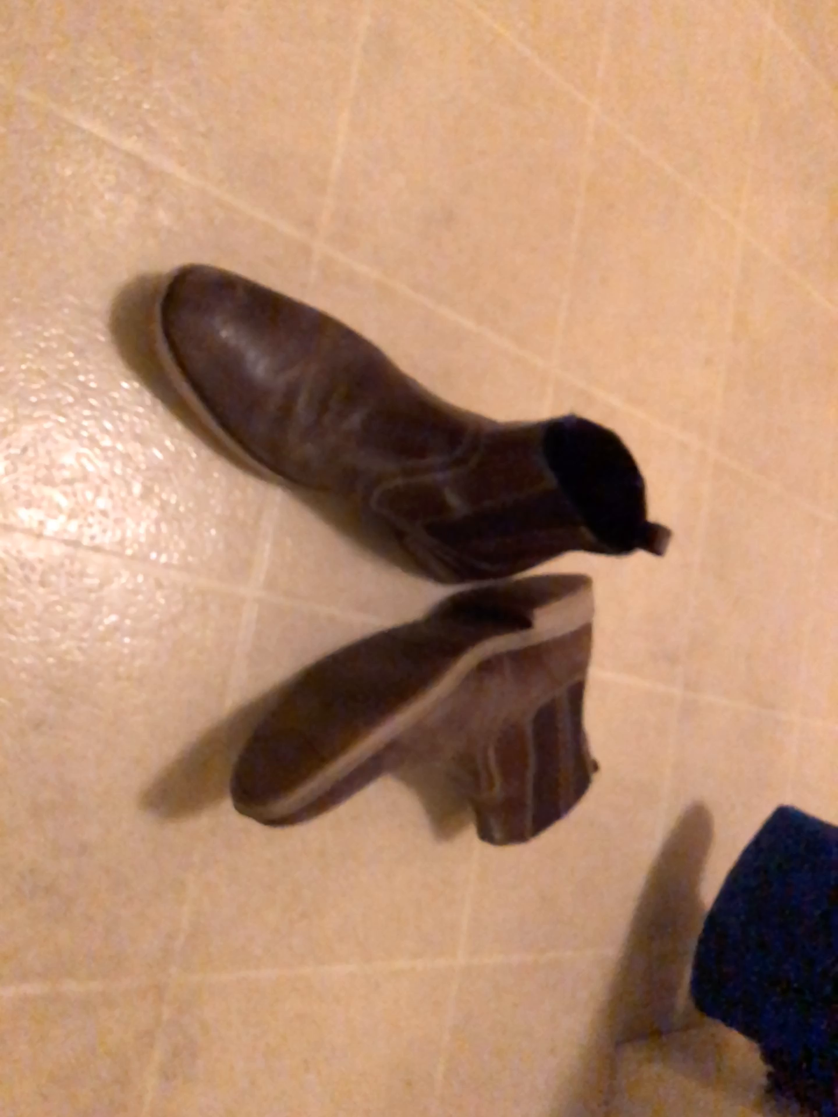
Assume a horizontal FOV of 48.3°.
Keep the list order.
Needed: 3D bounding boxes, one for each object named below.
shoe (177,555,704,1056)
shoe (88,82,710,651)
[{"bbox_3d":[0.034,0.125,0.594,0.315,0.111,0.161,-23,106,-37],"label":"shoe"},{"bbox_3d":[0.002,-0.077,0.534,0.314,0.160,0.111,39,67,-33],"label":"shoe"}]
